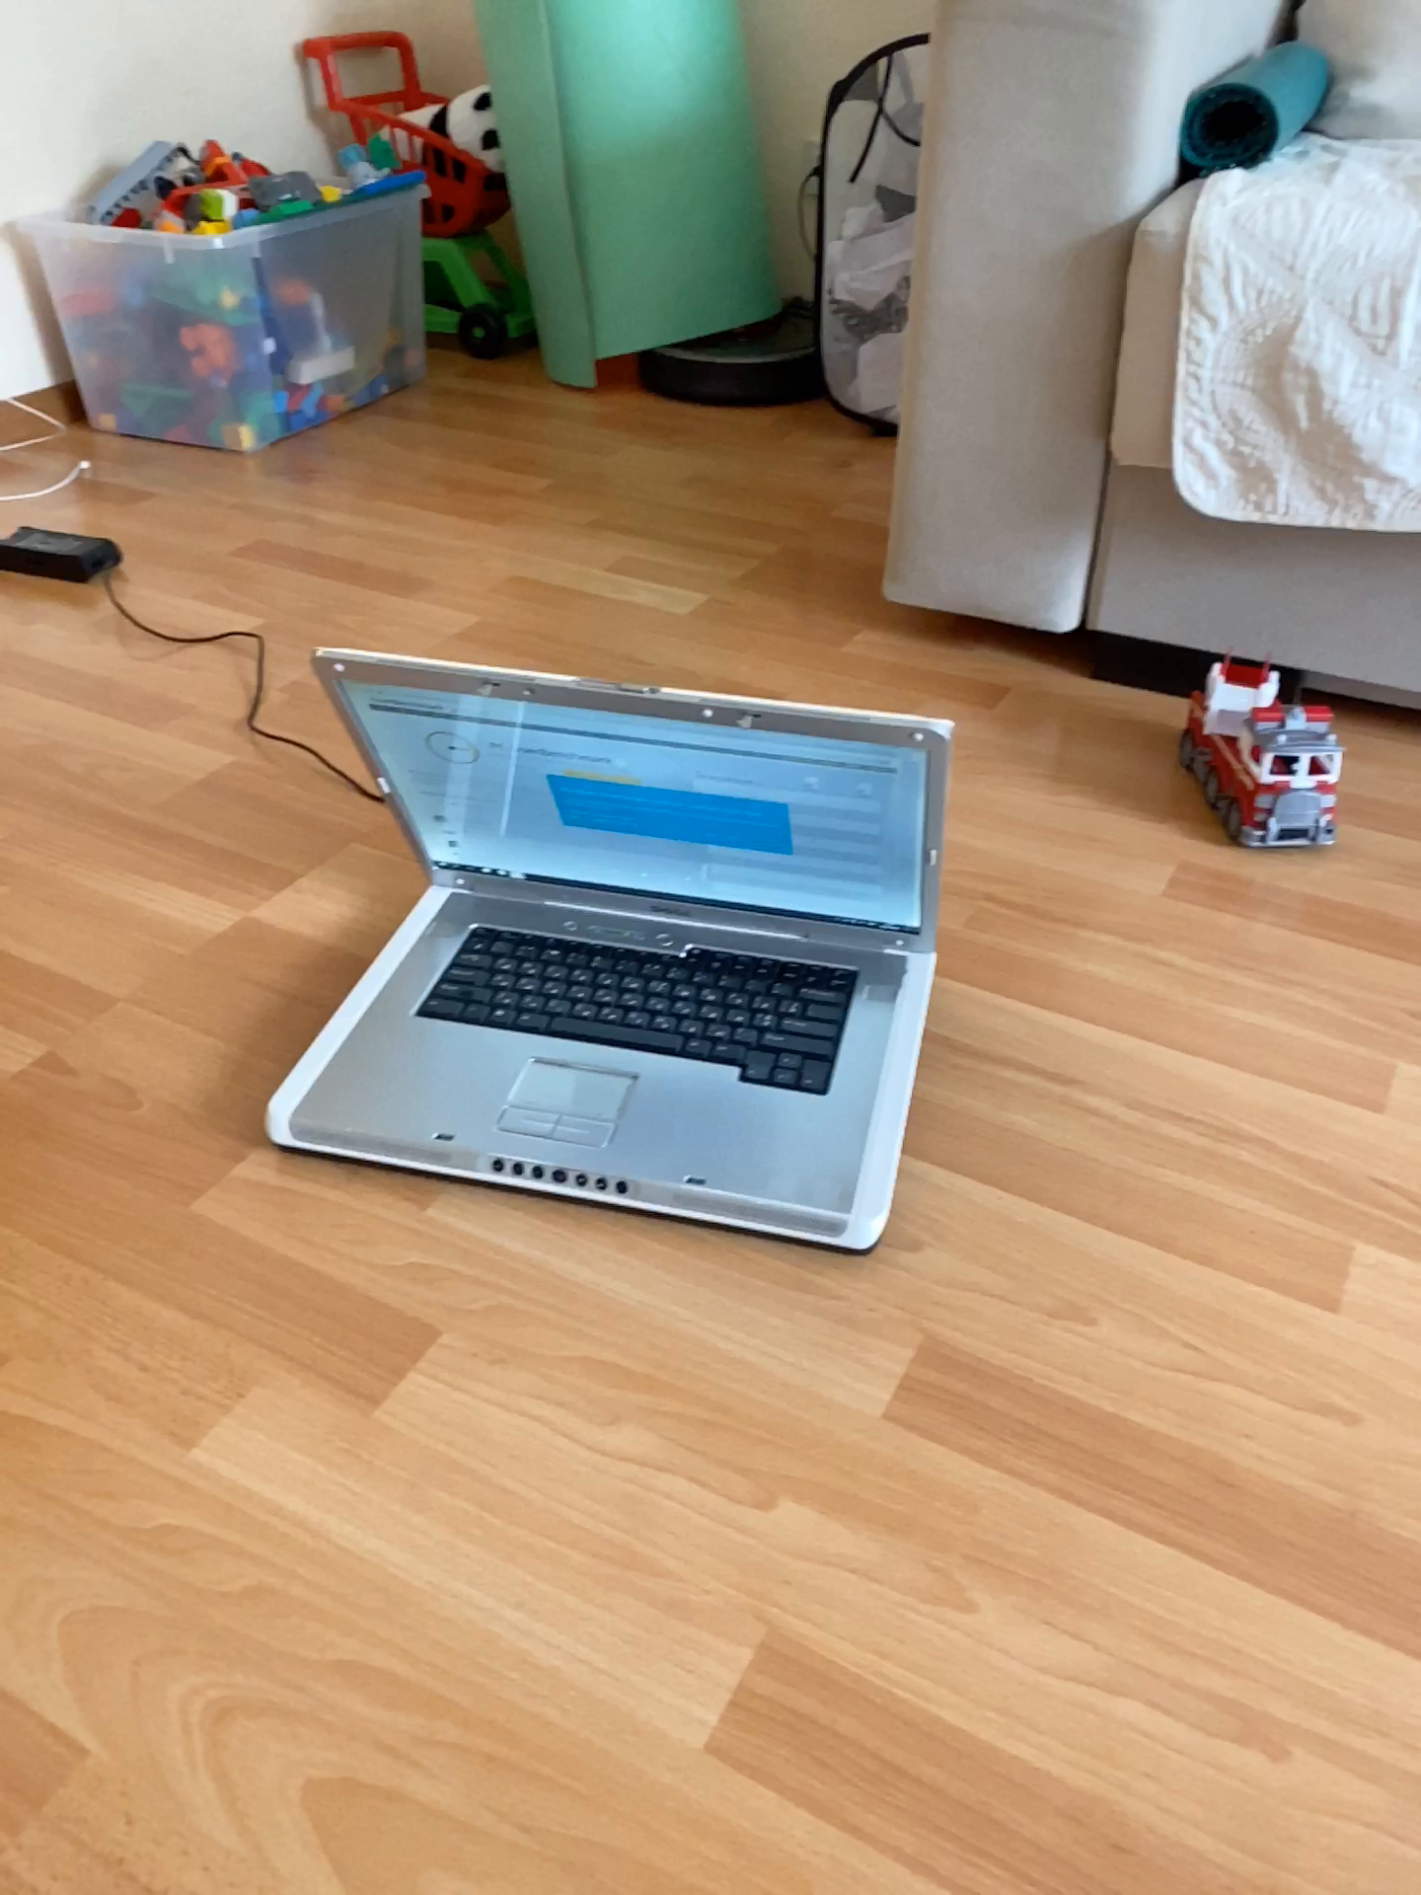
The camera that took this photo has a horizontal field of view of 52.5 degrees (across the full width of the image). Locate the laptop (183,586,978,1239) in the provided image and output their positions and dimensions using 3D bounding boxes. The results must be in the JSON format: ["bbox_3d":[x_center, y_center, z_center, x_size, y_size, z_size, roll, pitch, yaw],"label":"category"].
[{"bbox_3d":[-0.054,-0.040,0.886,0.386,0.238,0.275,8,35,11],"label":"laptop"}]
